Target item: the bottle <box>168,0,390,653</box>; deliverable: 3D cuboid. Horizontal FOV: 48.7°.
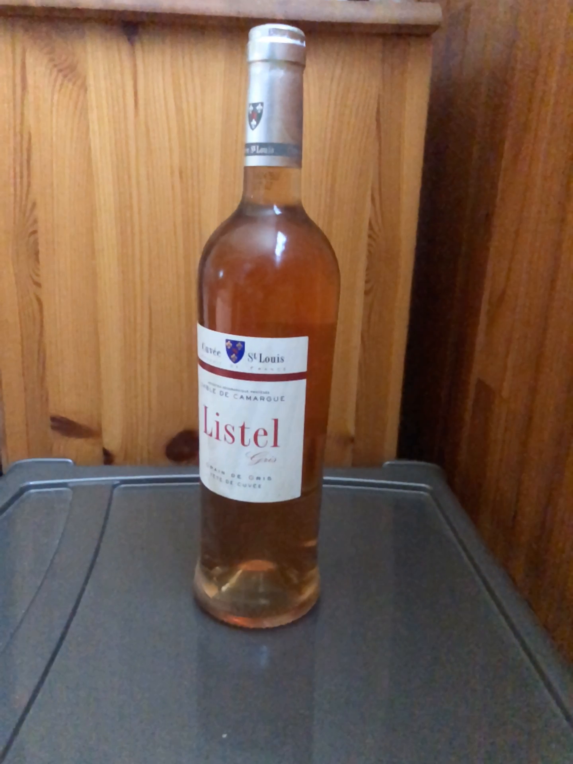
[{"bbox_3d":[-0.008,-0.024,0.345,0.080,0.319,0.080,3,16,-1],"label":"bottle"}]
